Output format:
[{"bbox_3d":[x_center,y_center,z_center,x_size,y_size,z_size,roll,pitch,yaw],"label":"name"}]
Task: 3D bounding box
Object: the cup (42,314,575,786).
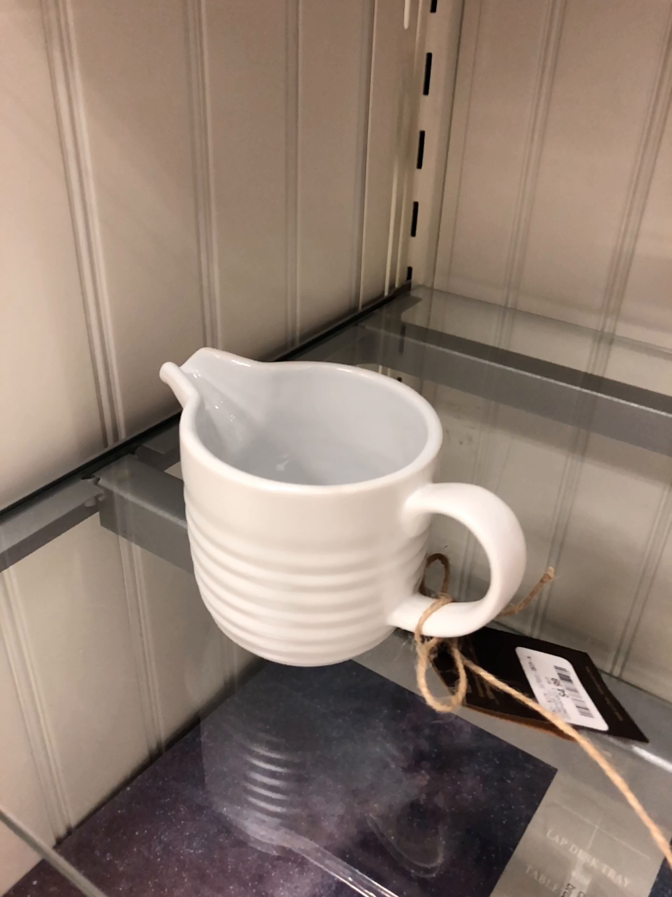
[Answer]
[{"bbox_3d":[-0.013,0.019,0.233,0.140,0.069,0.070,23,37,29],"label":"cup"}]
